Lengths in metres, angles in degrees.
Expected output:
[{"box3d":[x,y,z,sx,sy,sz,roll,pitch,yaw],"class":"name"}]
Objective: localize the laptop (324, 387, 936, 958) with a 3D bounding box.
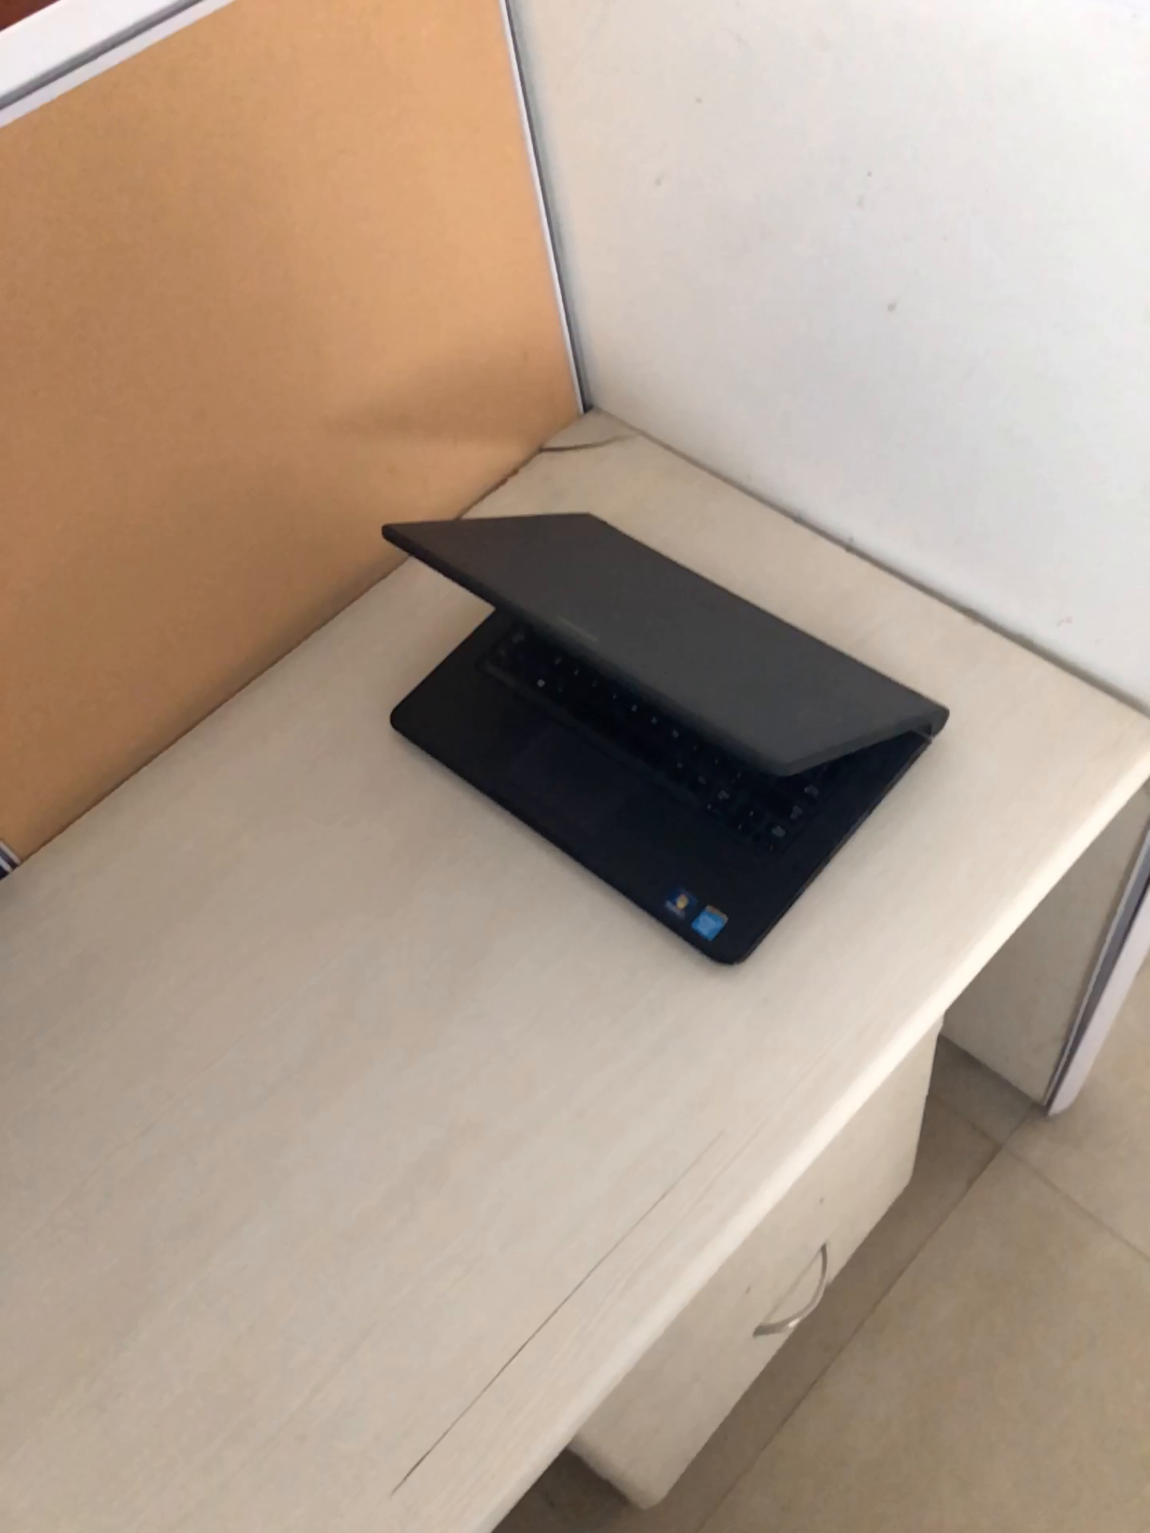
[{"box3d":[0.036,-0.074,0.843,0.318,0.154,0.216,33,67,29],"class":"laptop"}]
